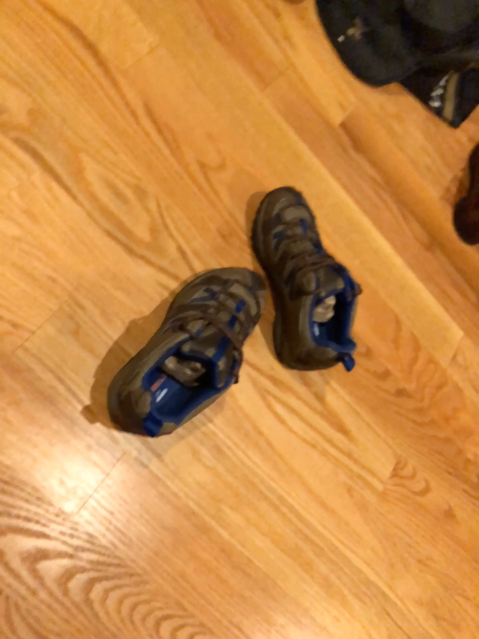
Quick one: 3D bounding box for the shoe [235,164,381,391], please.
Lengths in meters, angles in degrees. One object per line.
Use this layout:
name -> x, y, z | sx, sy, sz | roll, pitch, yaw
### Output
shoe -> 0.079, -0.048, 0.652 | 0.097, 0.094, 0.252 | -5, 81, -31

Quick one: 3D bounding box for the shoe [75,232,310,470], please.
shoe -> -0.046, 0.031, 0.572 | 0.094, 0.106, 0.241 | 47, 60, -13
